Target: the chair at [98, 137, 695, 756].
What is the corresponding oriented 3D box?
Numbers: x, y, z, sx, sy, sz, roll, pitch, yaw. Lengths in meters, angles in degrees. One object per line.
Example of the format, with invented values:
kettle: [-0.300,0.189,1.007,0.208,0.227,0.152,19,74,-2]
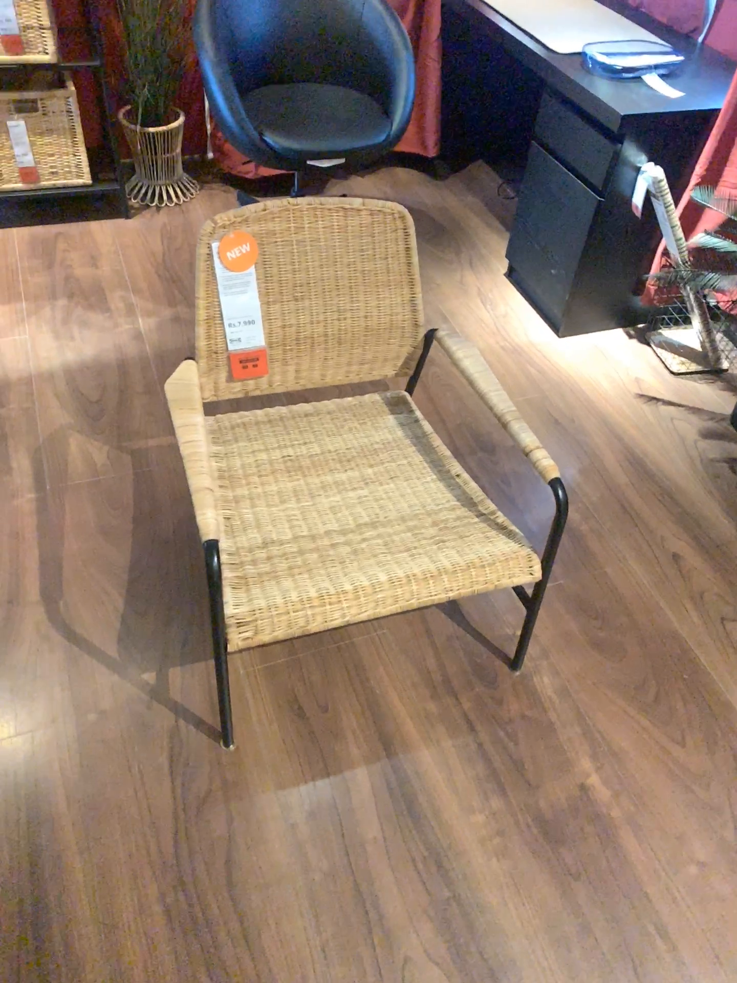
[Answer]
chair: [-0.051,-0.118,1.444,0.710,0.757,0.793,-10,49,-17]
